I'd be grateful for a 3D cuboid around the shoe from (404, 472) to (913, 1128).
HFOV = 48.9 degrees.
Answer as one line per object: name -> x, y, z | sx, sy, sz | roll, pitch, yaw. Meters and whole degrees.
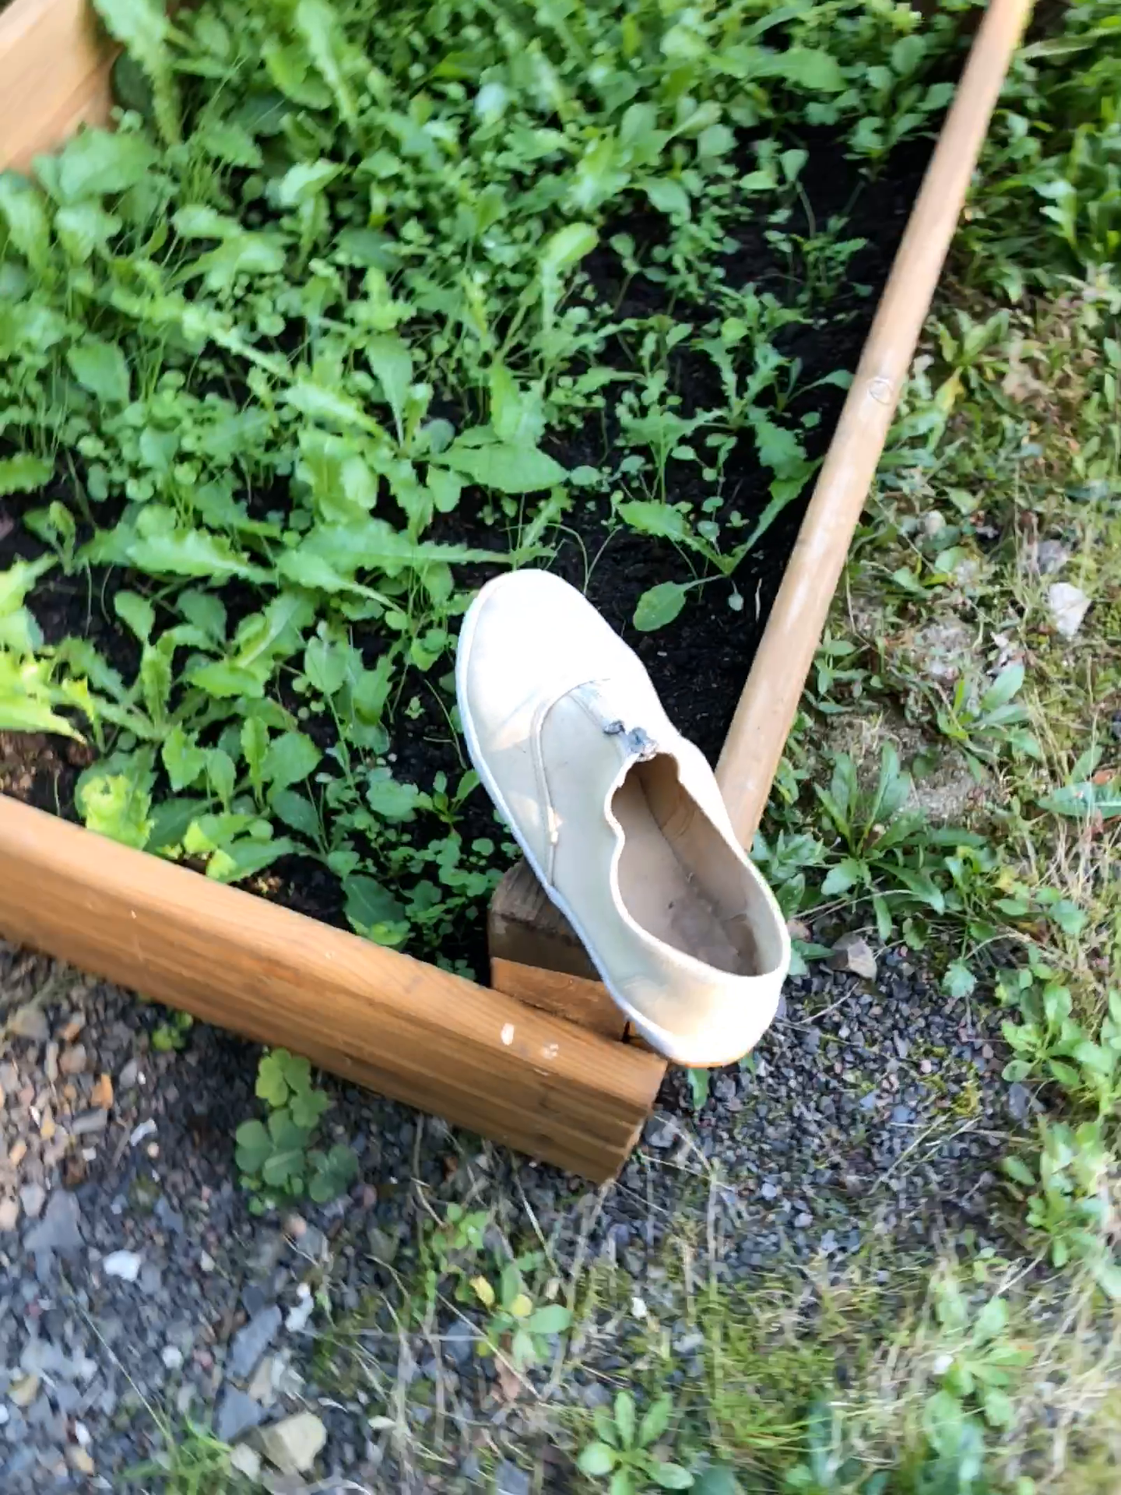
shoe -> 0.031, 0.015, 0.541 | 0.110, 0.070, 0.261 | -20, 68, -14
